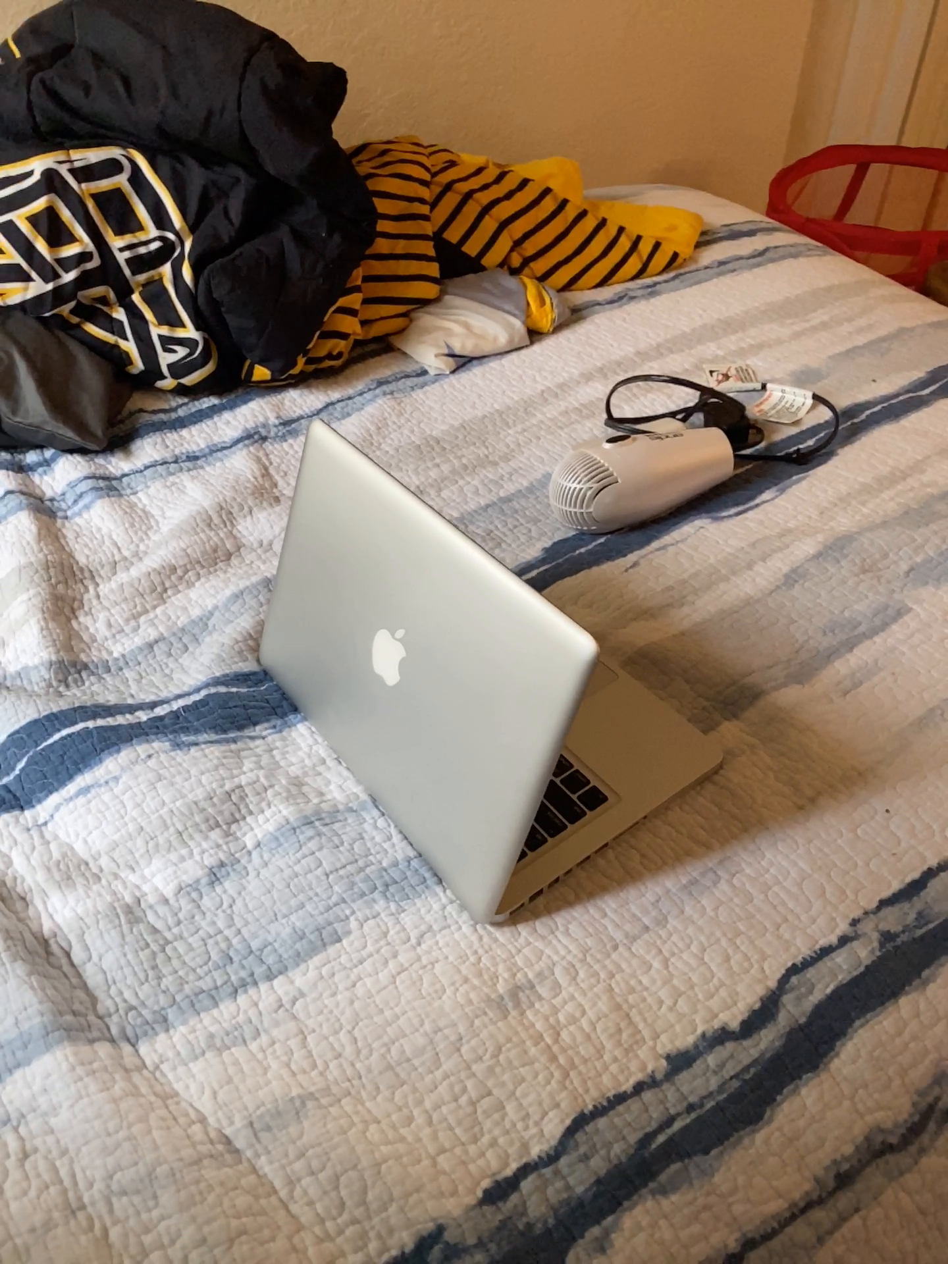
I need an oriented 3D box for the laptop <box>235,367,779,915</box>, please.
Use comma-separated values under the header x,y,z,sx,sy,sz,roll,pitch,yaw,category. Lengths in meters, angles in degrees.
x,y,z,sx,sy,sz,roll,pitch,yaw,category
0.009,-0.013,0.696,0.214,0.188,0.301,-27,49,-24,laptop
